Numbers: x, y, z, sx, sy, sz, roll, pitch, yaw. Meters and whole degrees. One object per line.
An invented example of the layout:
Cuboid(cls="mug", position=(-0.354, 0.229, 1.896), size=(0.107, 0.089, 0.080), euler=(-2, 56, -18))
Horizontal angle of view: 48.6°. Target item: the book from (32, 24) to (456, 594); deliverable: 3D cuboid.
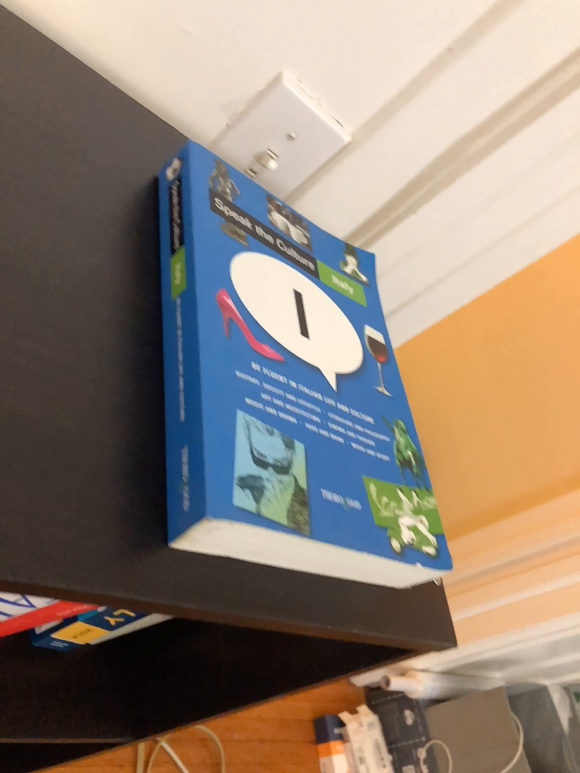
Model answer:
Cuboid(cls="book", position=(-0.017, -0.039, 0.328), size=(0.200, 0.030, 0.261), euler=(23, 45, -40))
